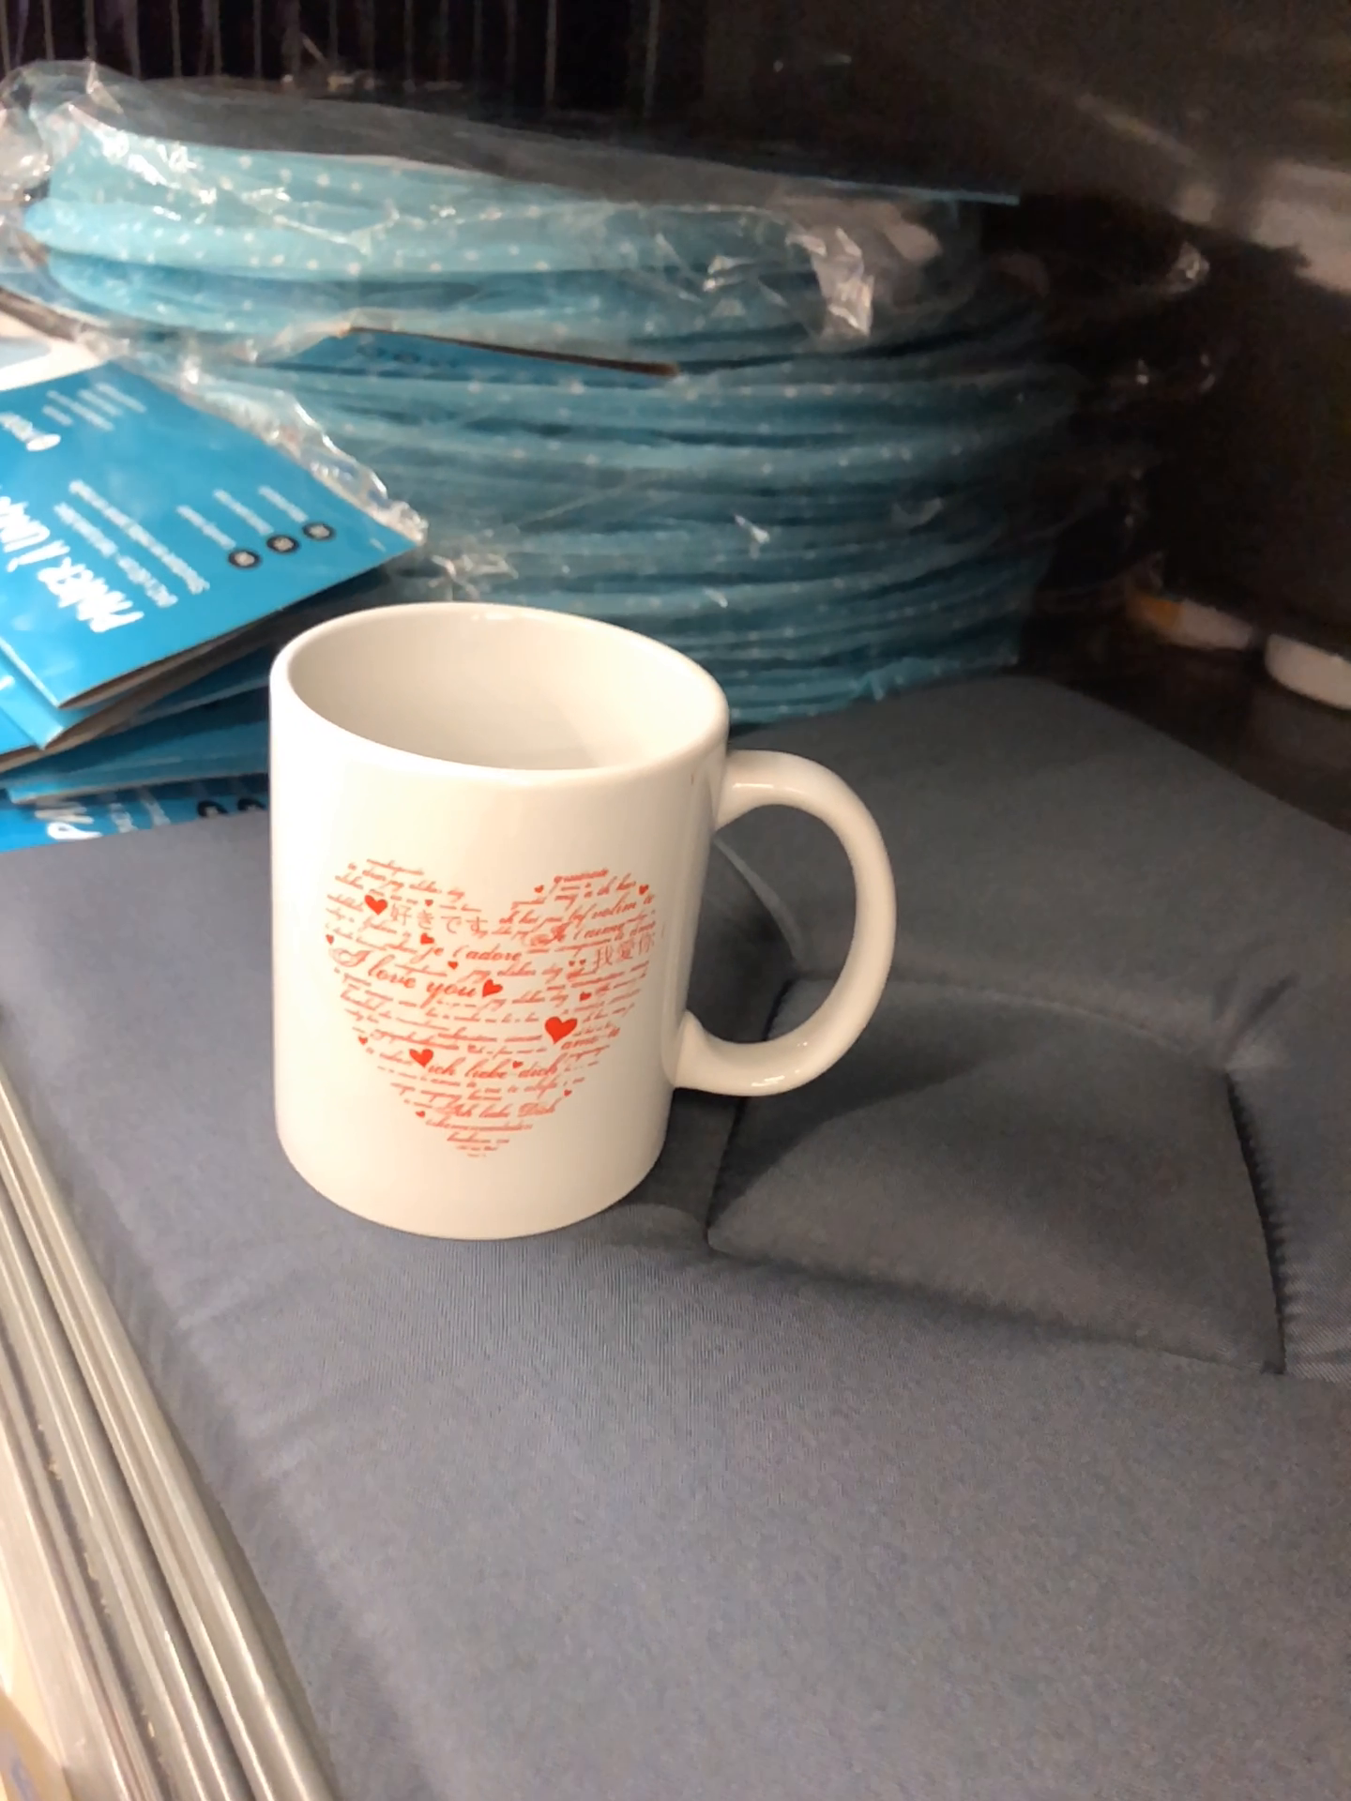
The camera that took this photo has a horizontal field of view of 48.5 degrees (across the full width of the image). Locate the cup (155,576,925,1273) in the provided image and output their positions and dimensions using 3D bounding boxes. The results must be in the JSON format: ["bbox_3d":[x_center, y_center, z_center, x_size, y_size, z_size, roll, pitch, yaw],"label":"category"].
[{"bbox_3d":[-0.026,0.002,0.297,0.120,0.099,0.090,3,28,-5],"label":"cup"}]
